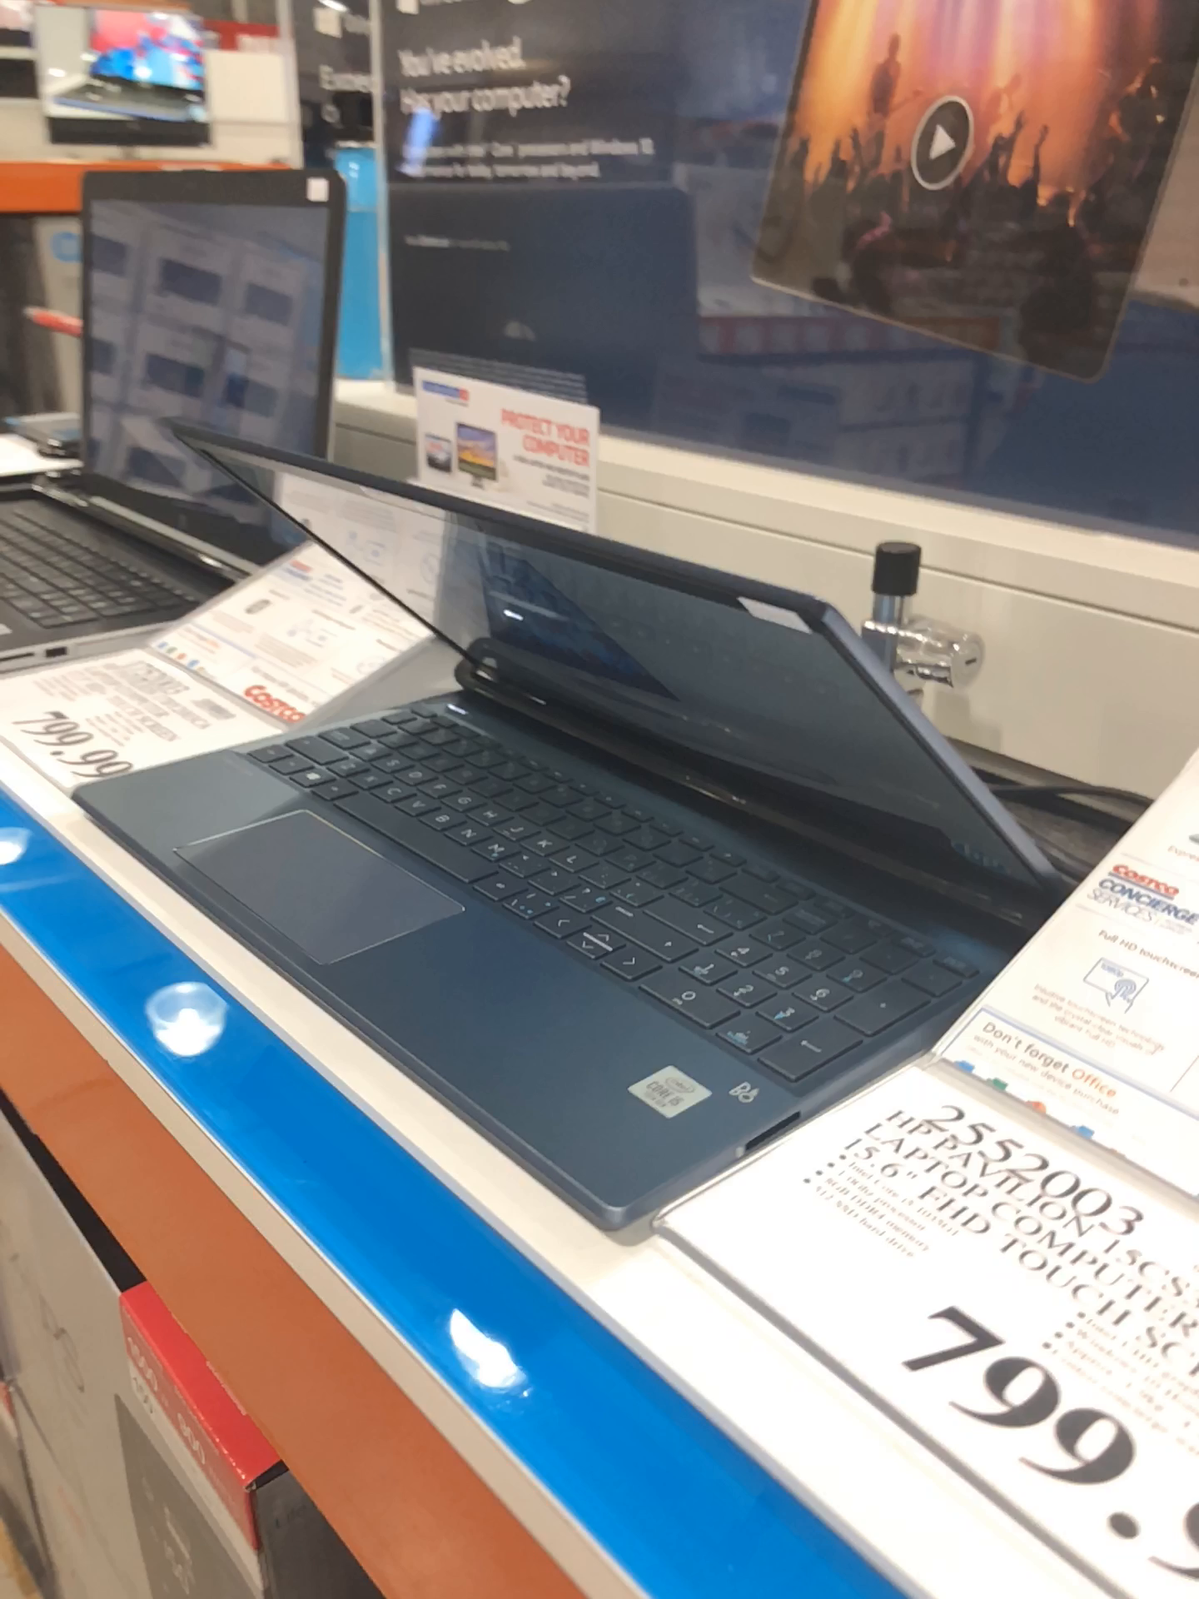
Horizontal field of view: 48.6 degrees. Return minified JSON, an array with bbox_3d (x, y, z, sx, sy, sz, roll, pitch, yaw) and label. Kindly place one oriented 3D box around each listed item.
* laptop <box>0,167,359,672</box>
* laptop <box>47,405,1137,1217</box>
[{"bbox_3d":[-0.365,-0.270,0.833,0.287,0.227,0.343,-21,32,-38],"label":"laptop"},{"bbox_3d":[-0.024,-0.044,0.501,0.217,0.149,0.348,-19,31,-37],"label":"laptop"}]
